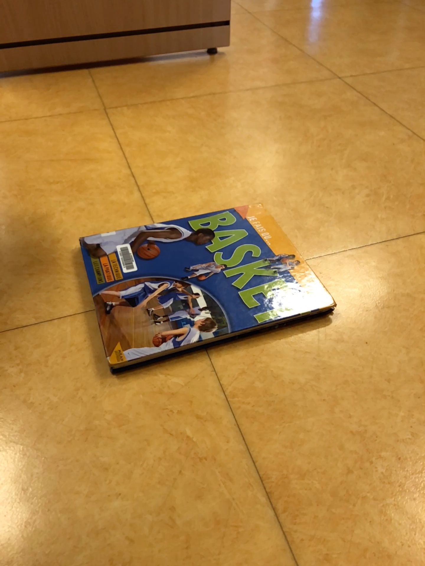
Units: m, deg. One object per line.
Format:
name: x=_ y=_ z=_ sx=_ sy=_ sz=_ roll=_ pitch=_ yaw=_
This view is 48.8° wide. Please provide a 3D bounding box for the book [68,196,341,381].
book: x=-0.020 y=-0.012 z=0.540 sx=0.257 sy=0.020 sz=0.211 roll=-13 pitch=46 yaw=-15
